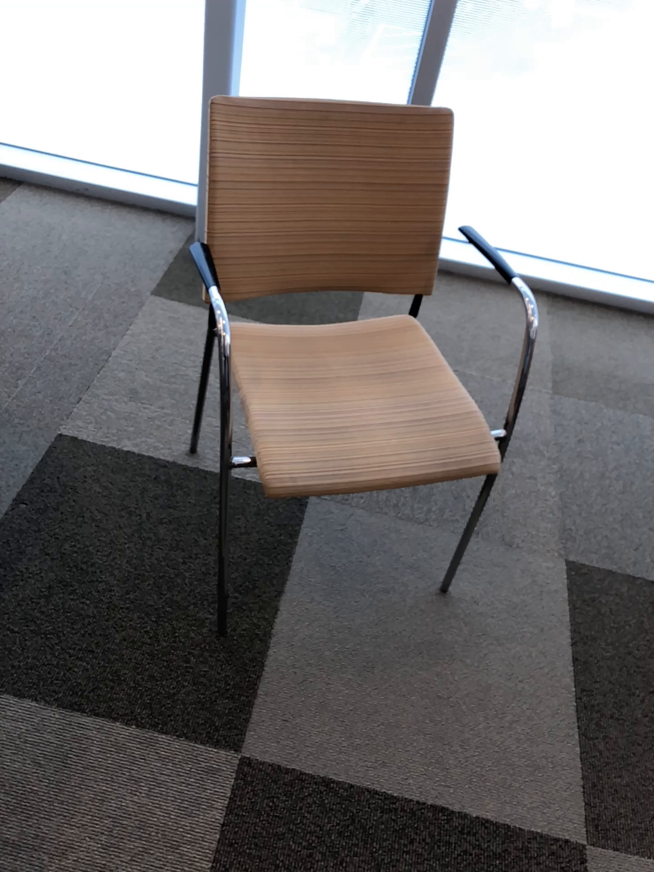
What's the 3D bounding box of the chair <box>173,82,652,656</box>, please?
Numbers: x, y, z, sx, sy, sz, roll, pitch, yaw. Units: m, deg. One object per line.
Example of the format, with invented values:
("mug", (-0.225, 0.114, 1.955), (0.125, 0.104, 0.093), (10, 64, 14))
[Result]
("chair", (0.032, -0.102, 1.296), (0.516, 0.796, 0.548), (-6, 46, -19))
